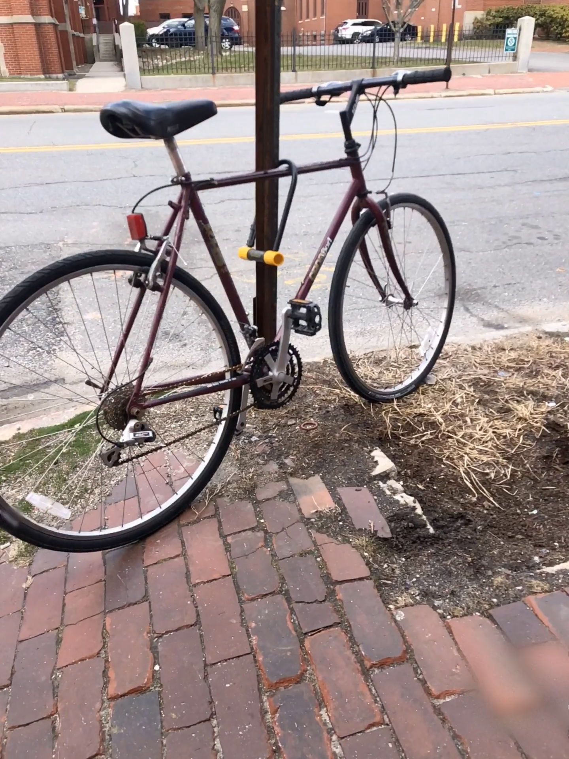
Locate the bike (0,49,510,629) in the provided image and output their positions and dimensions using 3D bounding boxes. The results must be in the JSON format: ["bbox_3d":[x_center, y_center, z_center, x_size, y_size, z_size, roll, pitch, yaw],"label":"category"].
[{"bbox_3d":[-0.100,-0.331,1.725,1.688,0.962,0.556,-27,36,-37],"label":"bike"}]
